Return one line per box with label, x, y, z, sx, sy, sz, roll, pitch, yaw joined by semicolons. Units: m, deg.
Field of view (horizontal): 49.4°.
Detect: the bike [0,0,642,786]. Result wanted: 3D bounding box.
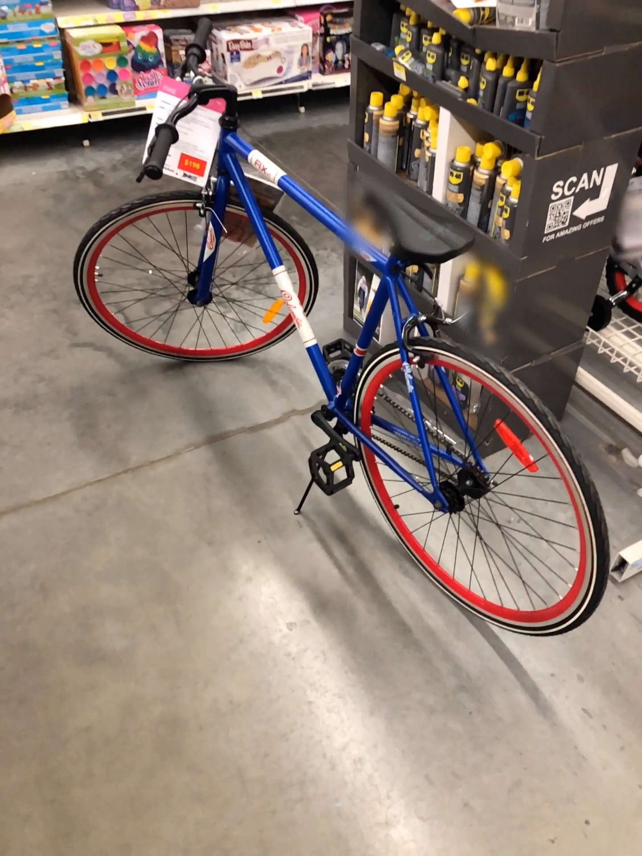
bike;-0.083;-0.188;1.420;1.495;0.937;0.603;35;52;25
